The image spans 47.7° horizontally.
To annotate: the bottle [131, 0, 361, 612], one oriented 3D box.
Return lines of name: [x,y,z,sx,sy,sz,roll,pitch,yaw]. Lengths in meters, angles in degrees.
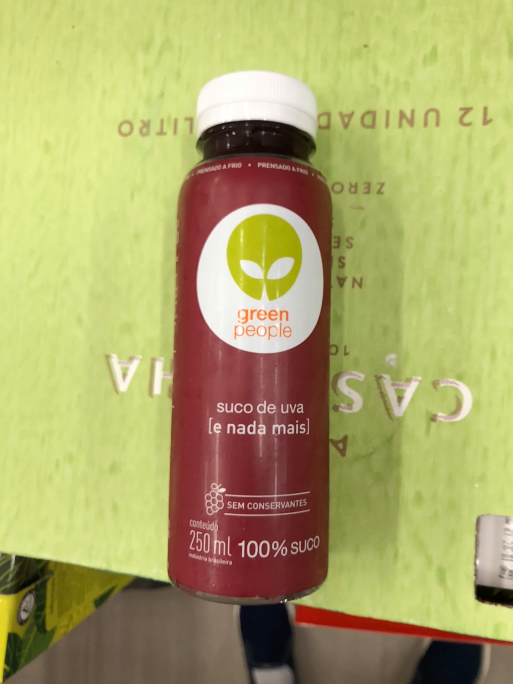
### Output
bottle: [-0.007,-0.010,0.194,0.060,0.060,0.170,2,89,-9]
